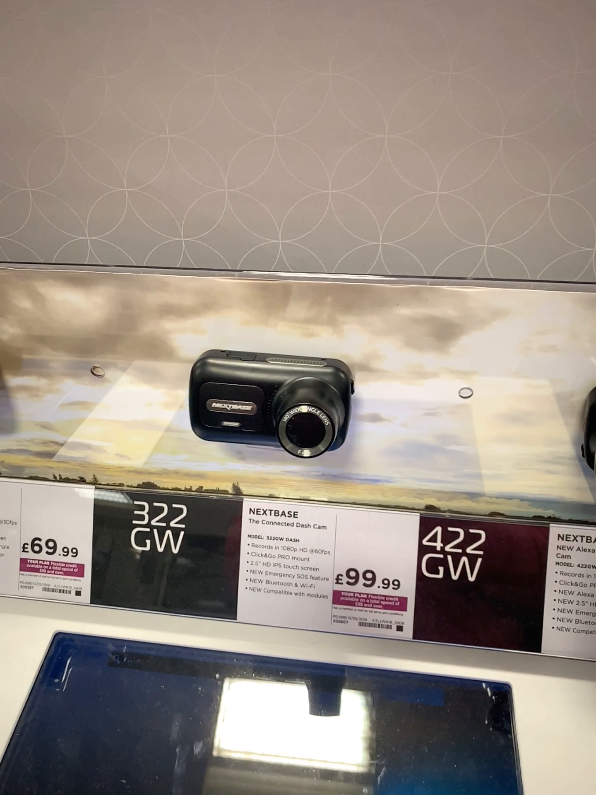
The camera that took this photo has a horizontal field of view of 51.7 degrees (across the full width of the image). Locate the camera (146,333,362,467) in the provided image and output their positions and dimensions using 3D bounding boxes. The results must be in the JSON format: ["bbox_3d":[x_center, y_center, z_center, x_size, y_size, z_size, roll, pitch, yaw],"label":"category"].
[{"bbox_3d":[-0.017,-0.003,0.304,0.090,0.040,0.070,5,17,10],"label":"camera"}]
